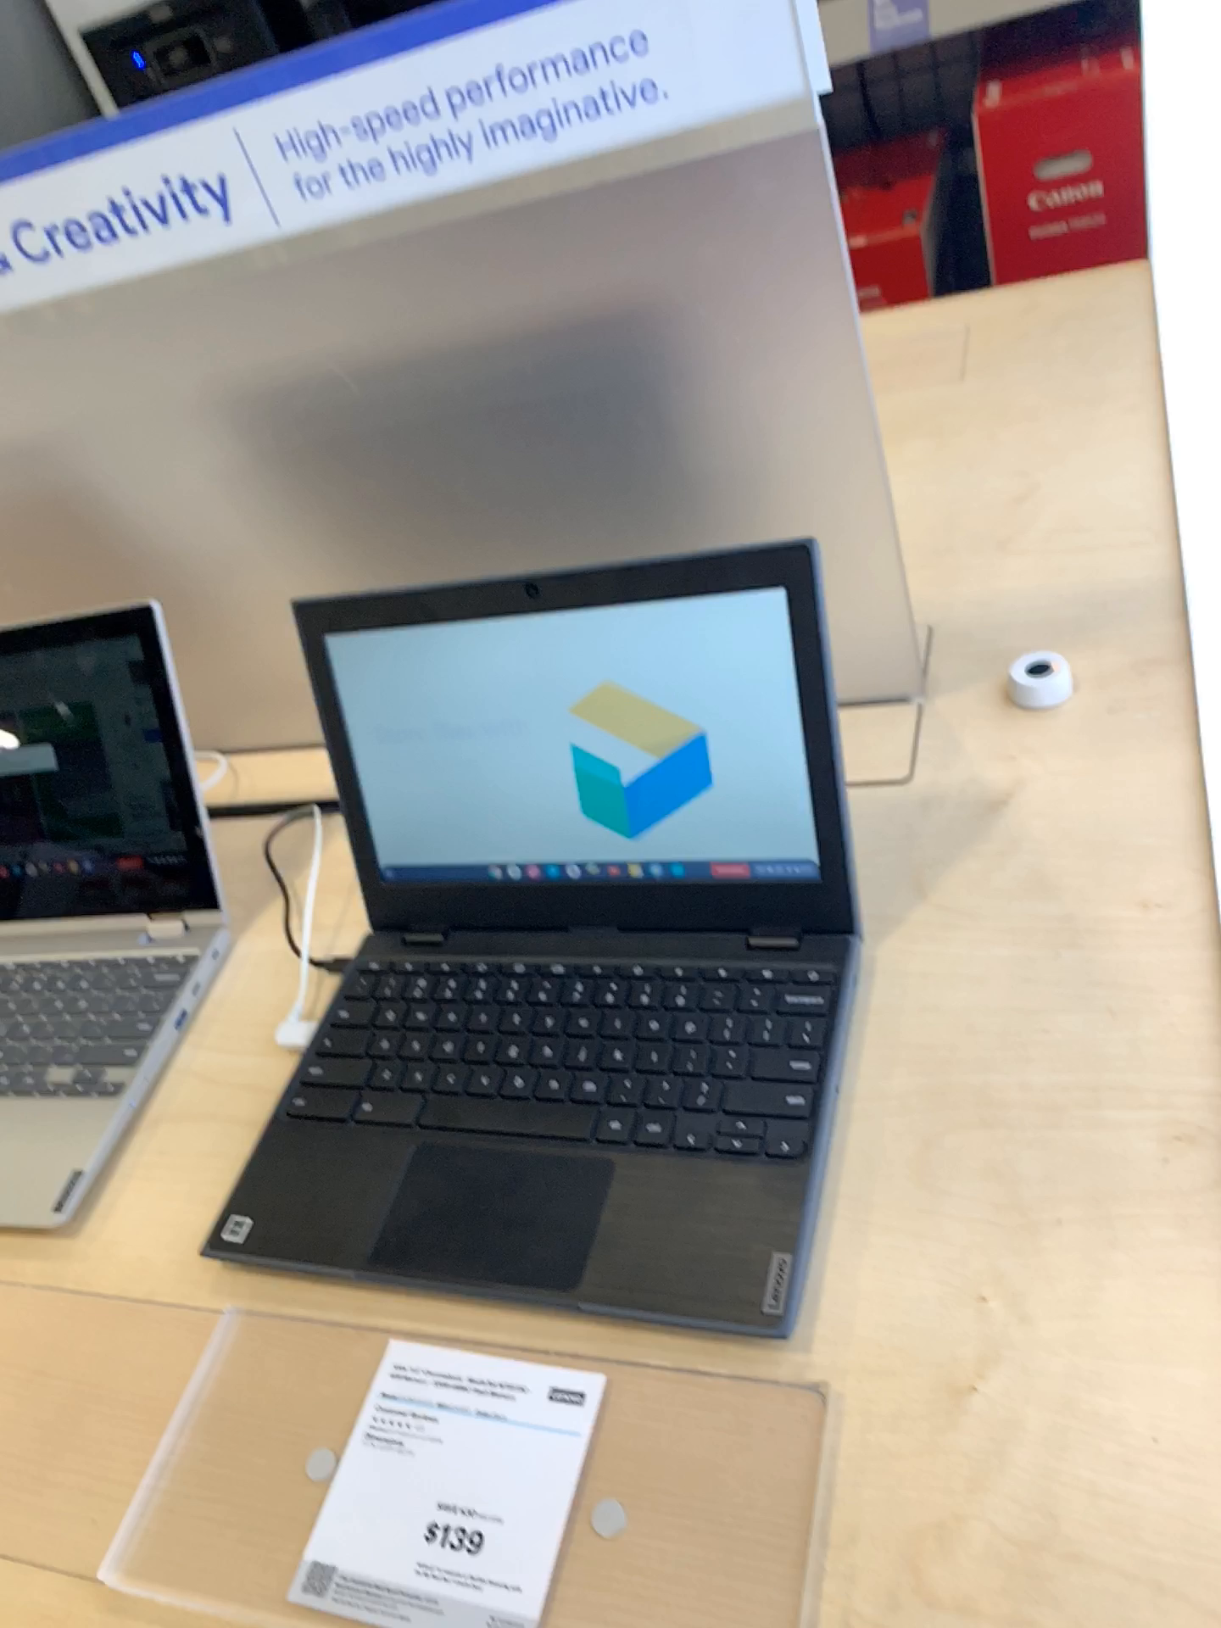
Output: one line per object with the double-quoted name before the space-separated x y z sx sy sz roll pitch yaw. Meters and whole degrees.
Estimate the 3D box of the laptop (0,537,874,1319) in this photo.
"laptop" -0.053 0.040 0.563 0.276 0.170 0.266 -2 43 25
